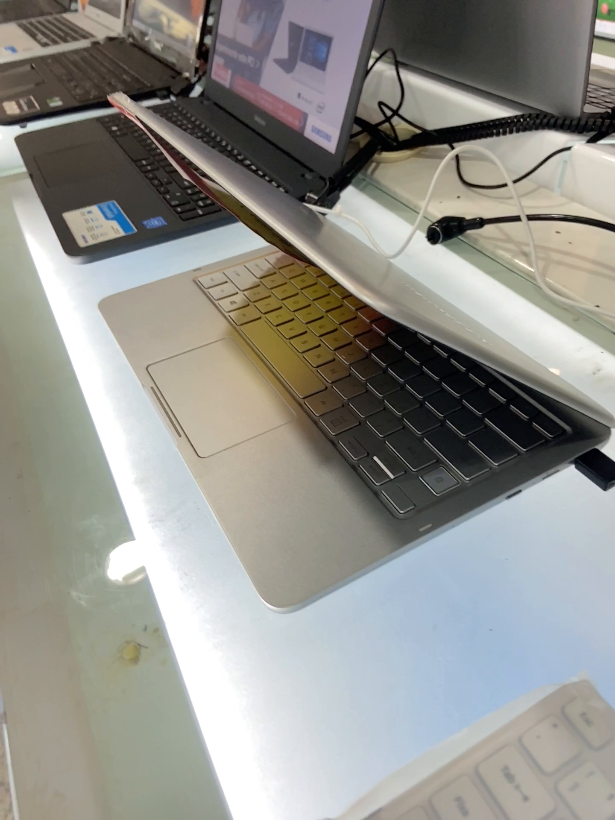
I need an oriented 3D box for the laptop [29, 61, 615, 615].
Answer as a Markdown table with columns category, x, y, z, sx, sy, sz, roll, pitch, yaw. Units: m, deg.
| category | x | y | z | sx | sy | sz | roll | pitch | yaw |
| --- | --- | --- | --- | --- | --- | --- | --- | --- | --- |
| laptop | -0.009 | -0.083 | 0.366 | 0.201 | 0.132 | 0.308 | -23 | 43 | -18 |
